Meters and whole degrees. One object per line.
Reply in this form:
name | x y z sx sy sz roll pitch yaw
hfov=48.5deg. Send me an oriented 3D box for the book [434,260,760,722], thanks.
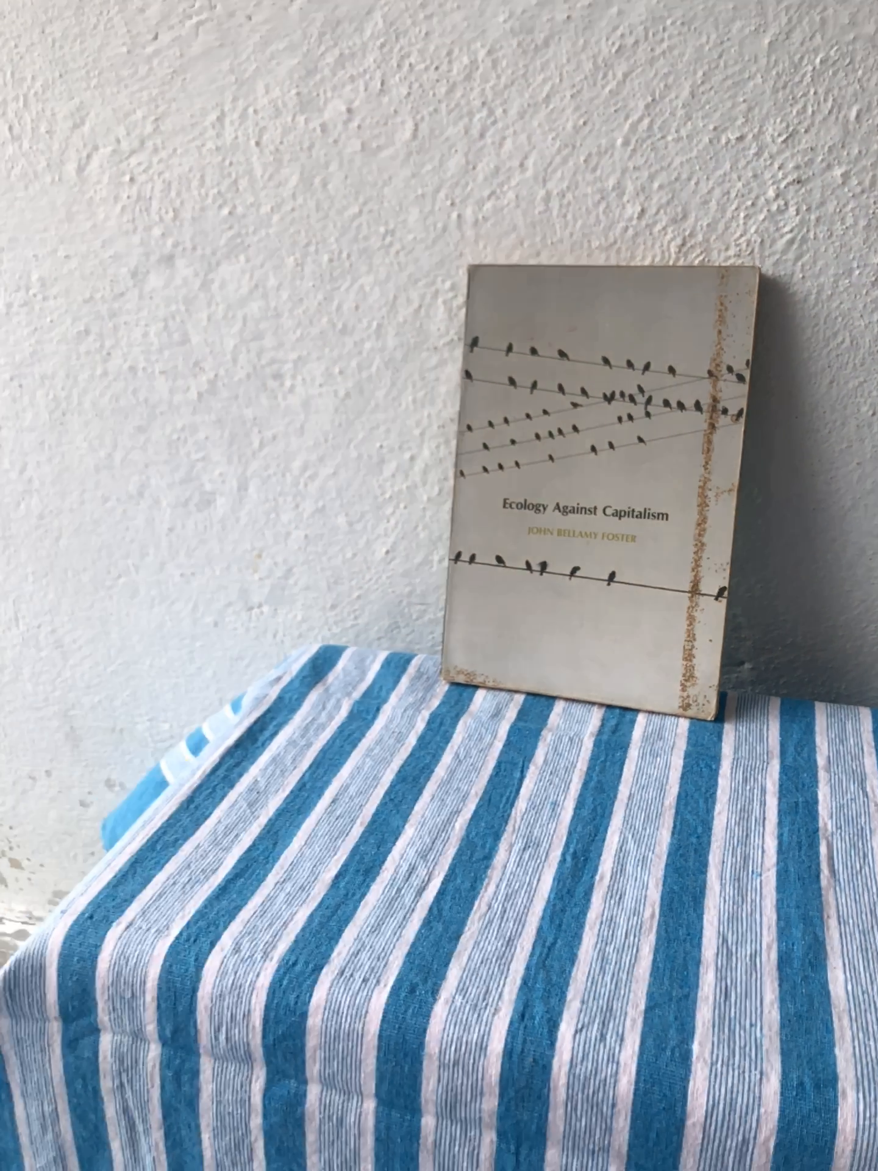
book | 0.076 -0.049 0.482 0.140 0.210 0.030 5 3 21
